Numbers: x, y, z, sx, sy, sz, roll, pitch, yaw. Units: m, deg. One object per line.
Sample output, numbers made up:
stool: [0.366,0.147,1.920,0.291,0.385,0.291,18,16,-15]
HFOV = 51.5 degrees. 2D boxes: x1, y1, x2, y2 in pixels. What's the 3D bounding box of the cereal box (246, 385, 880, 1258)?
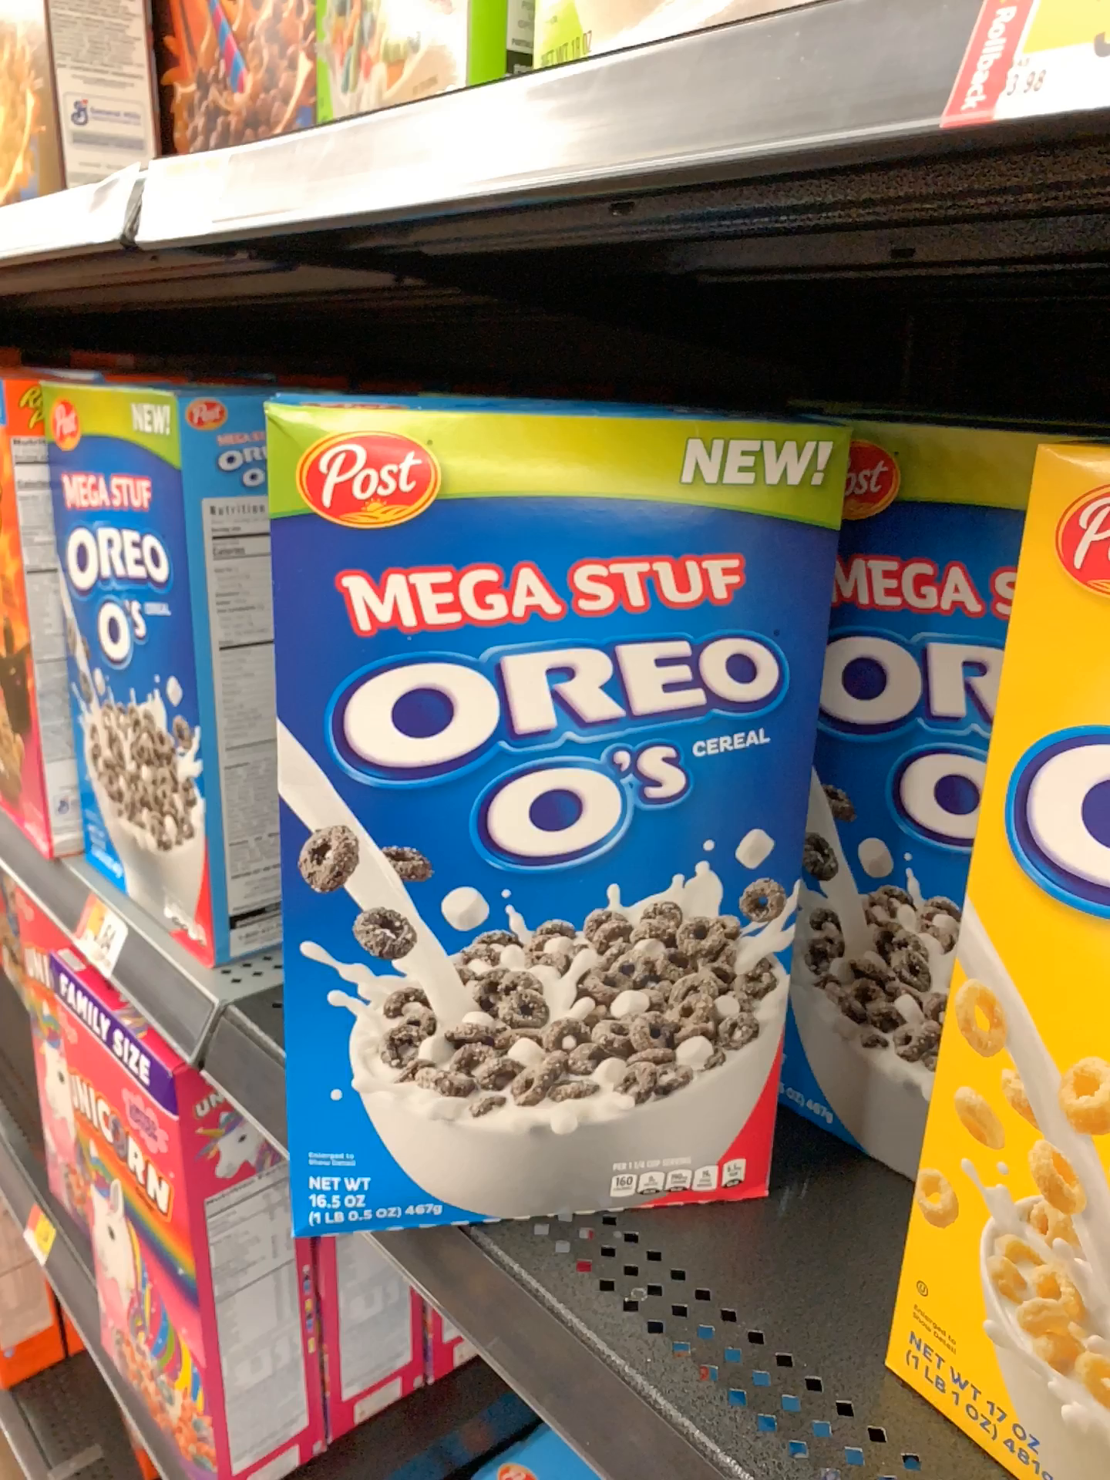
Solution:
cereal box: [-0.005,0.034,0.462,0.210,0.329,0.080,-1,18,-10]
